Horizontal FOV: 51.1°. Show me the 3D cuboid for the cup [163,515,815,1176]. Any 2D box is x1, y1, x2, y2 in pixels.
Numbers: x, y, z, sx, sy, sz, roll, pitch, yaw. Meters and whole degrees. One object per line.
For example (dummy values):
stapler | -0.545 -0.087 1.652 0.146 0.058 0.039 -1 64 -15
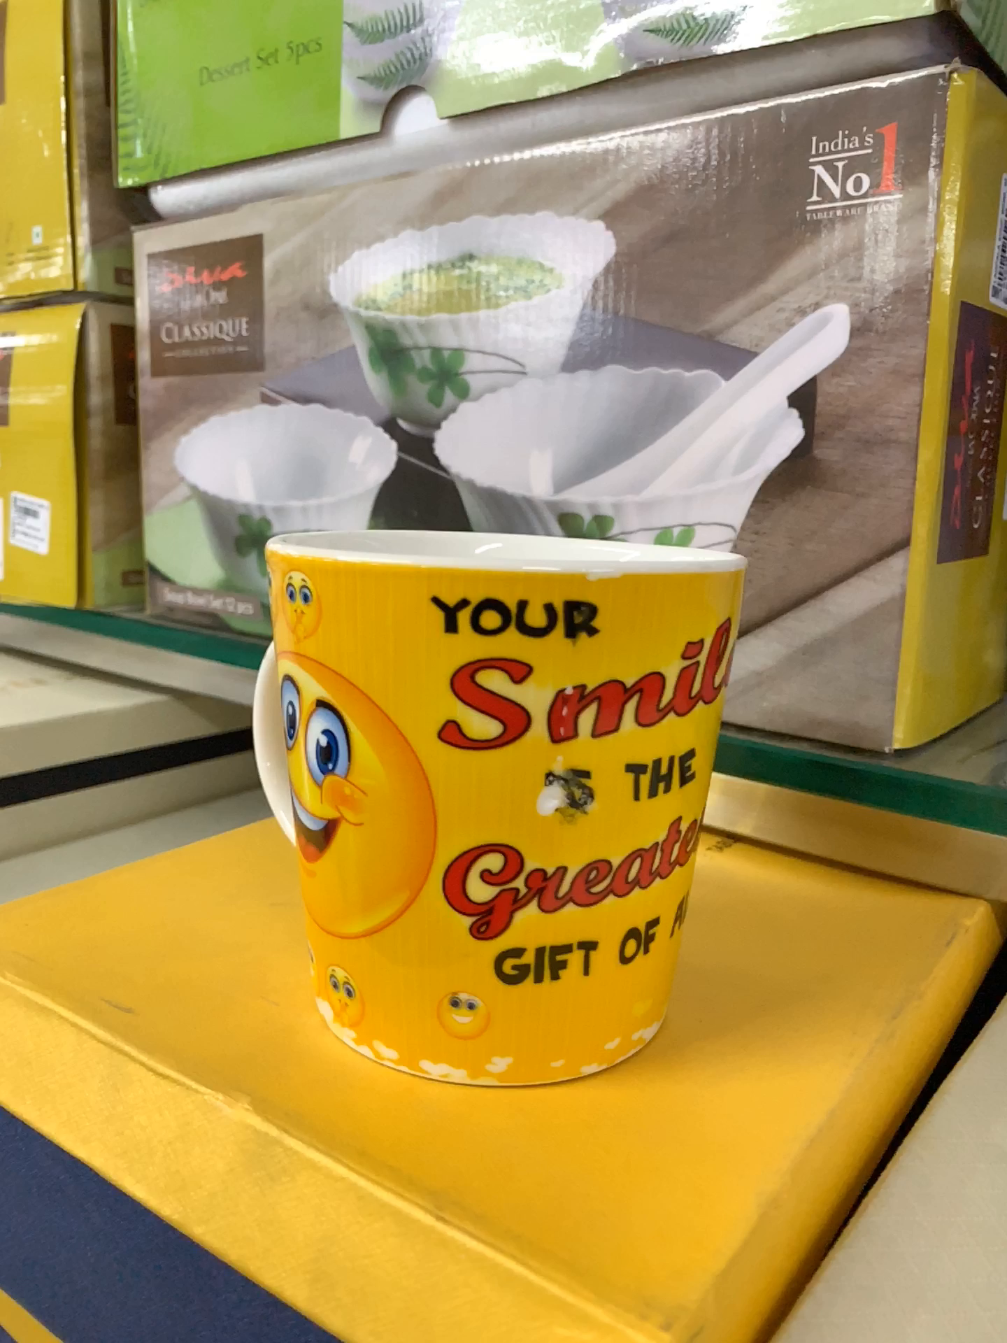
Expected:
cup | -0.011 0.017 0.217 0.070 0.090 0.120 -7 14 -38
